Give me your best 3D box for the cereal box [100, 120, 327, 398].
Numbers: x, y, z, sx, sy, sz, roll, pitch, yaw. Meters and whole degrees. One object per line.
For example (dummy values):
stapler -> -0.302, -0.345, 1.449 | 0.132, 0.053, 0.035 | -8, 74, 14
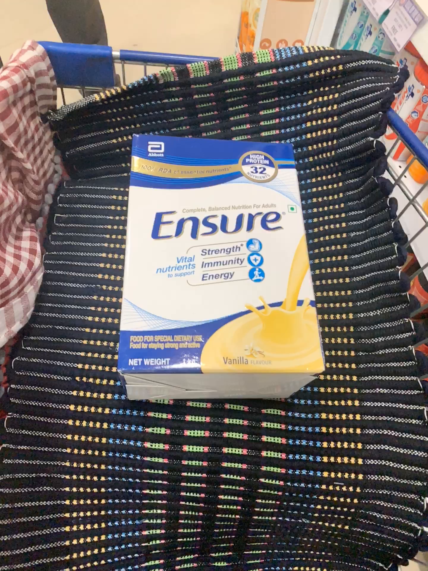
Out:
cereal box -> -0.006, -0.025, 0.380 | 0.150, 0.090, 0.220 | 1, 62, -6
